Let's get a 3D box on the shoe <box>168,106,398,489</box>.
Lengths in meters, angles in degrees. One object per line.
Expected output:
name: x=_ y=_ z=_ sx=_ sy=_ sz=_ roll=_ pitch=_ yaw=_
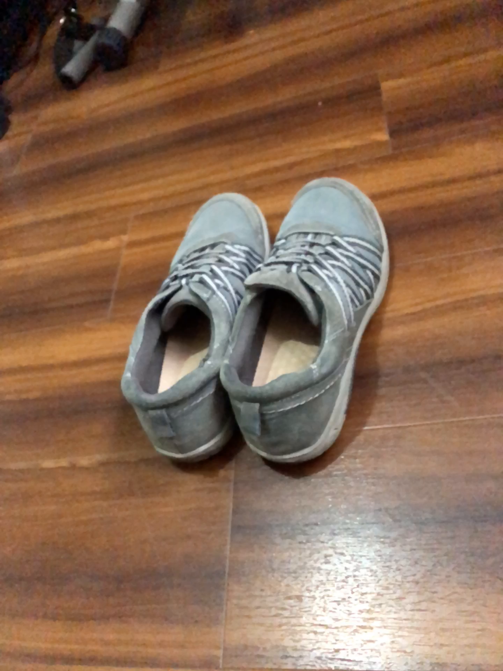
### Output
shoe: x=0.044 y=-0.040 z=0.445 sx=0.100 sy=0.109 sz=0.281 roll=1 pitch=56 yaw=24

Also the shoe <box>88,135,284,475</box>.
shoe: x=-0.040 y=-0.034 z=0.498 sx=0.100 sy=0.109 sz=0.282 roll=-8 pitch=53 yaw=18
